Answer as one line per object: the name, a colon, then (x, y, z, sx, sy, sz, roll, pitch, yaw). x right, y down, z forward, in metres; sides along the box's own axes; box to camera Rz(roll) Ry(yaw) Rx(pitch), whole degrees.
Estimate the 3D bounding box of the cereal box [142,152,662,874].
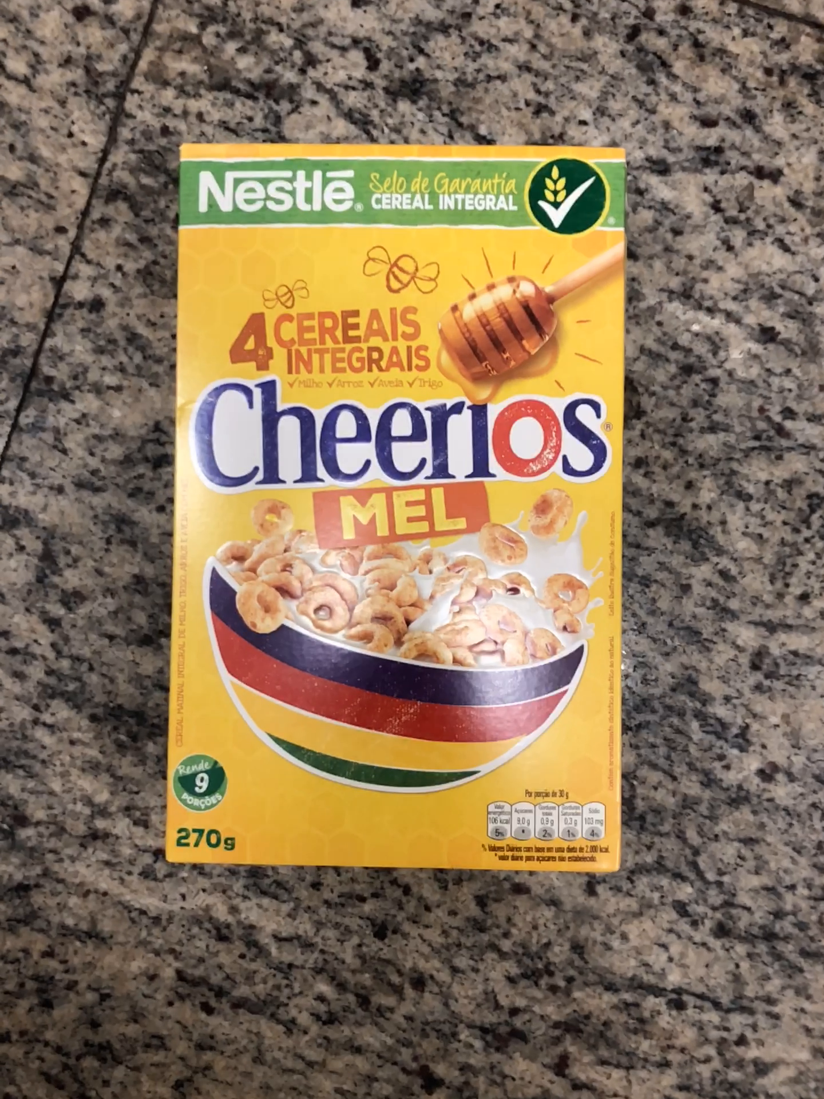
cereal box: (-0.003, -0.013, 0.333, 0.170, 0.060, 0.240, 0, 88, 0)
